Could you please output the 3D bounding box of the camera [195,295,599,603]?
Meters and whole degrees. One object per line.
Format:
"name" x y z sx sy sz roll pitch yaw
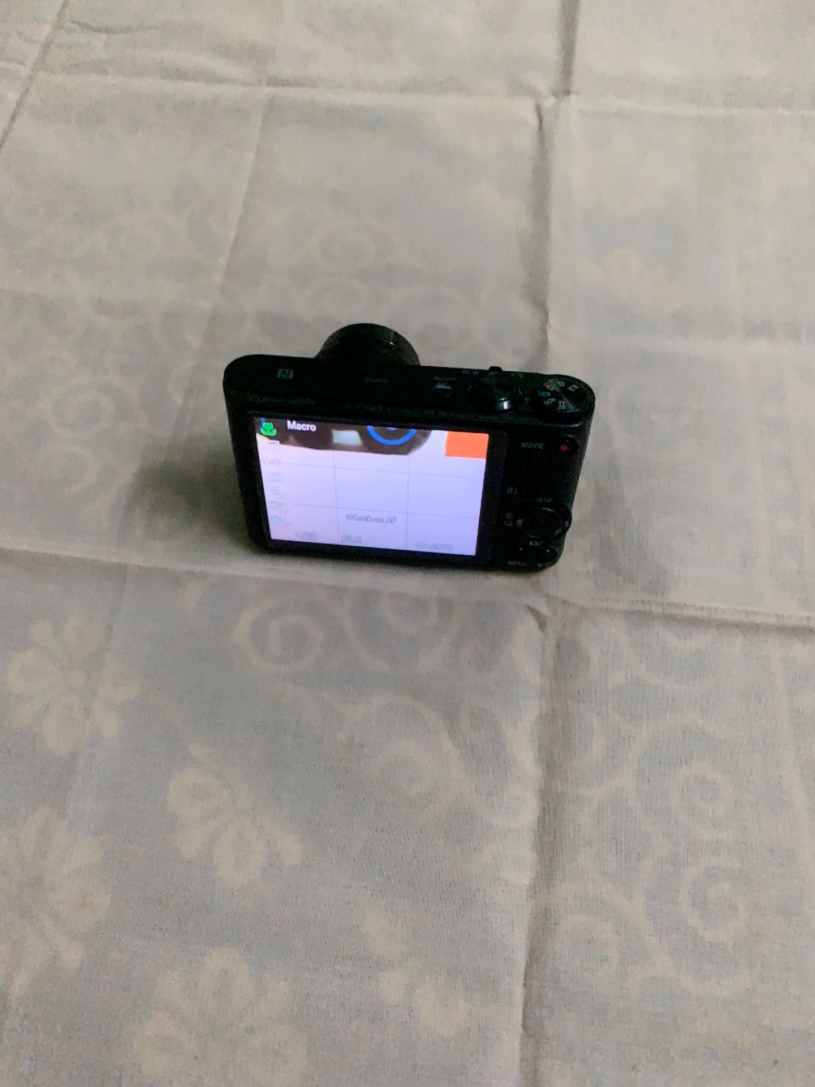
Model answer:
"camera" -0.001 -0.027 0.250 0.100 0.060 0.058 4 52 3
